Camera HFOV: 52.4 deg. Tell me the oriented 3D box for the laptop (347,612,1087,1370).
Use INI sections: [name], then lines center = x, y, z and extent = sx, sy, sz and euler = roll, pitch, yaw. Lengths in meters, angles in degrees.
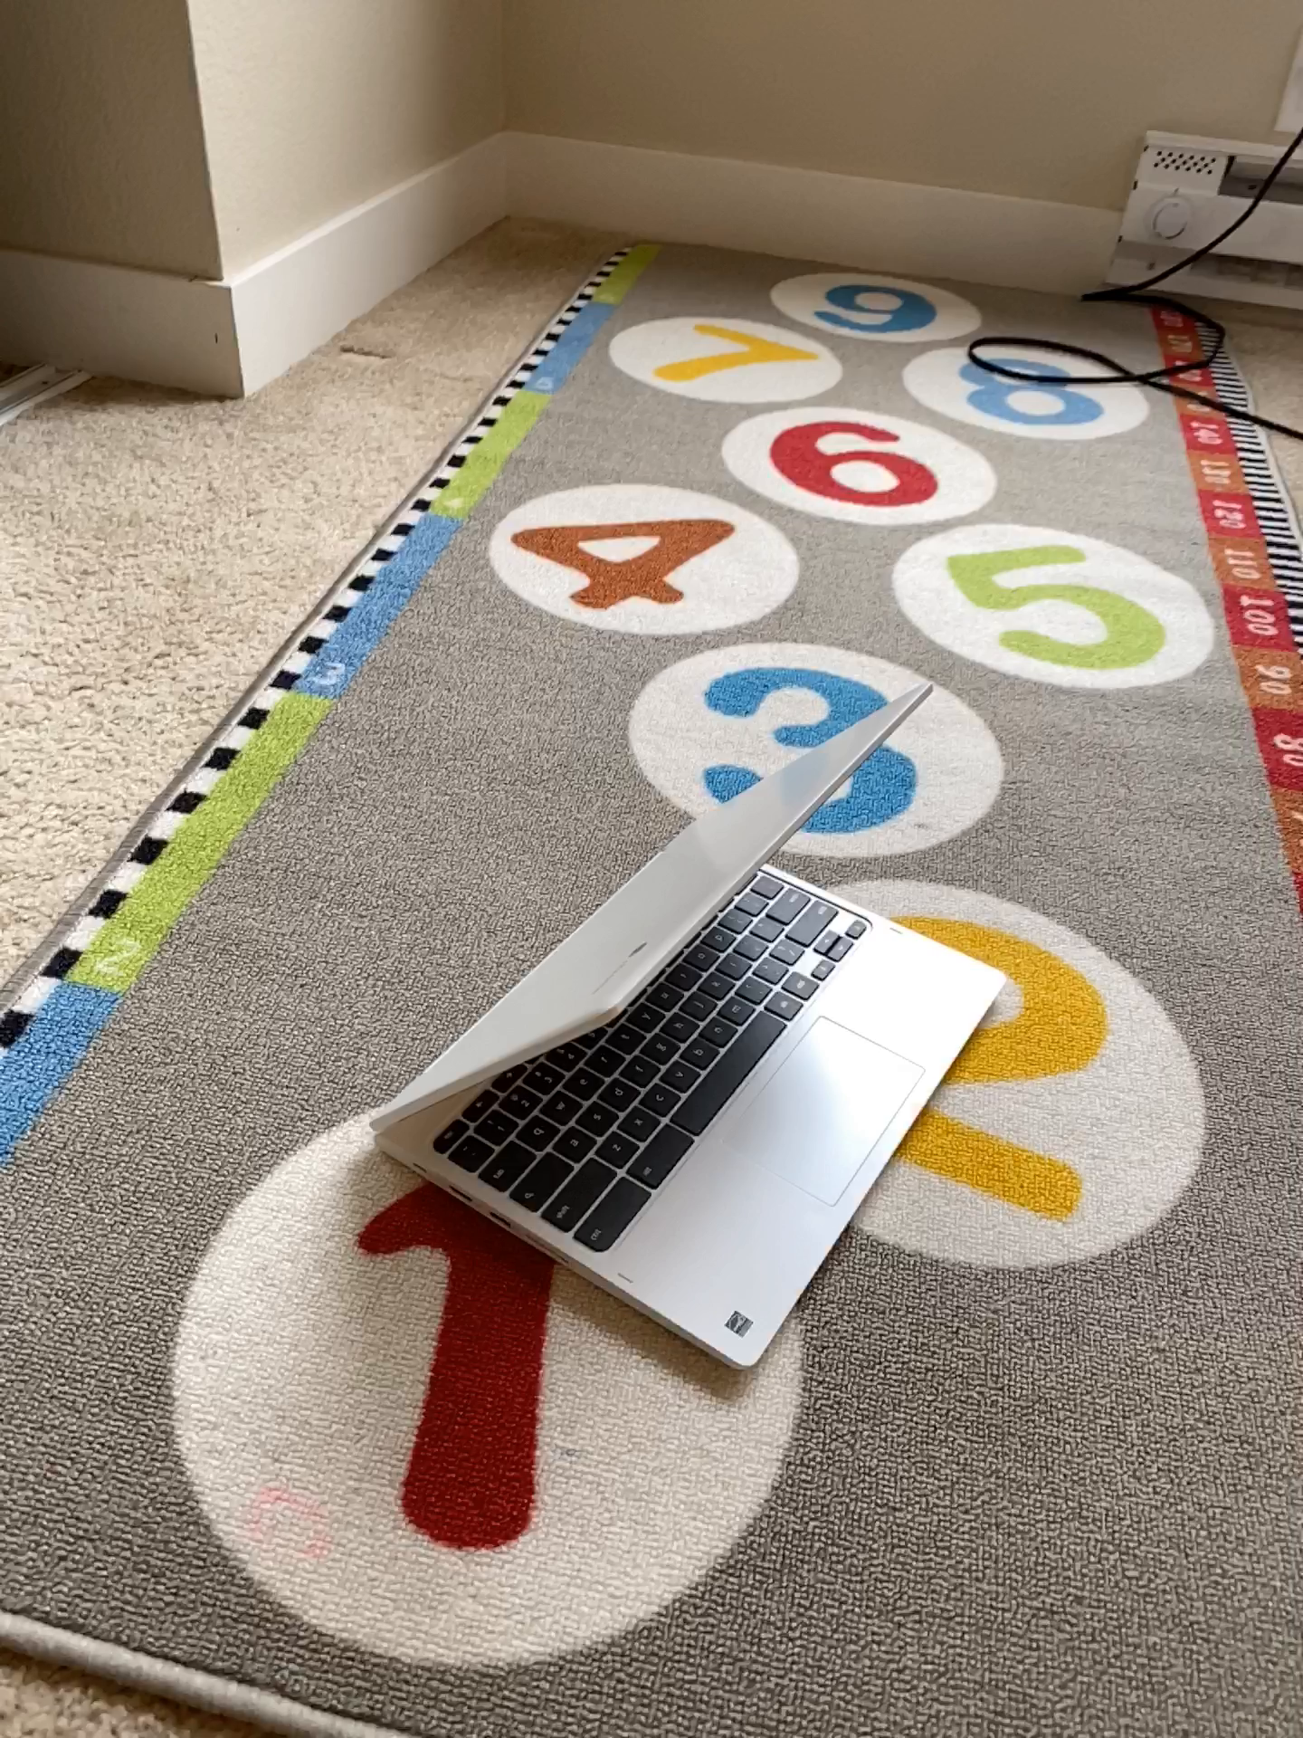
[laptop]
center = 0.041, 0.034, 0.657
extent = 0.217, 0.162, 0.300
euler = 25, 43, 23
